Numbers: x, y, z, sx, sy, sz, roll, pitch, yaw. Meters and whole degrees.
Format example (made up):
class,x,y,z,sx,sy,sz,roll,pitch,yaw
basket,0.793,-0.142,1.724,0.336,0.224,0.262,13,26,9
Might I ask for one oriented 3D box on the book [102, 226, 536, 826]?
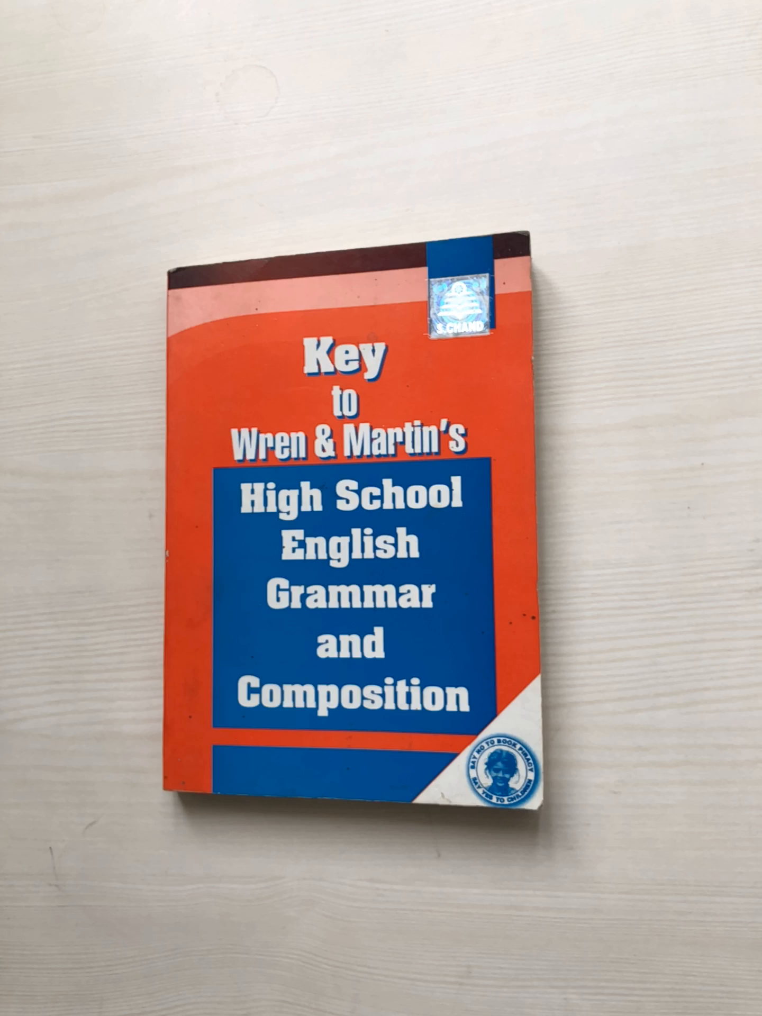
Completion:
class,x,y,z,sx,sy,sz,roll,pitch,yaw
book,-0.018,0.005,0.268,0.130,0.030,0.170,-1,86,11
